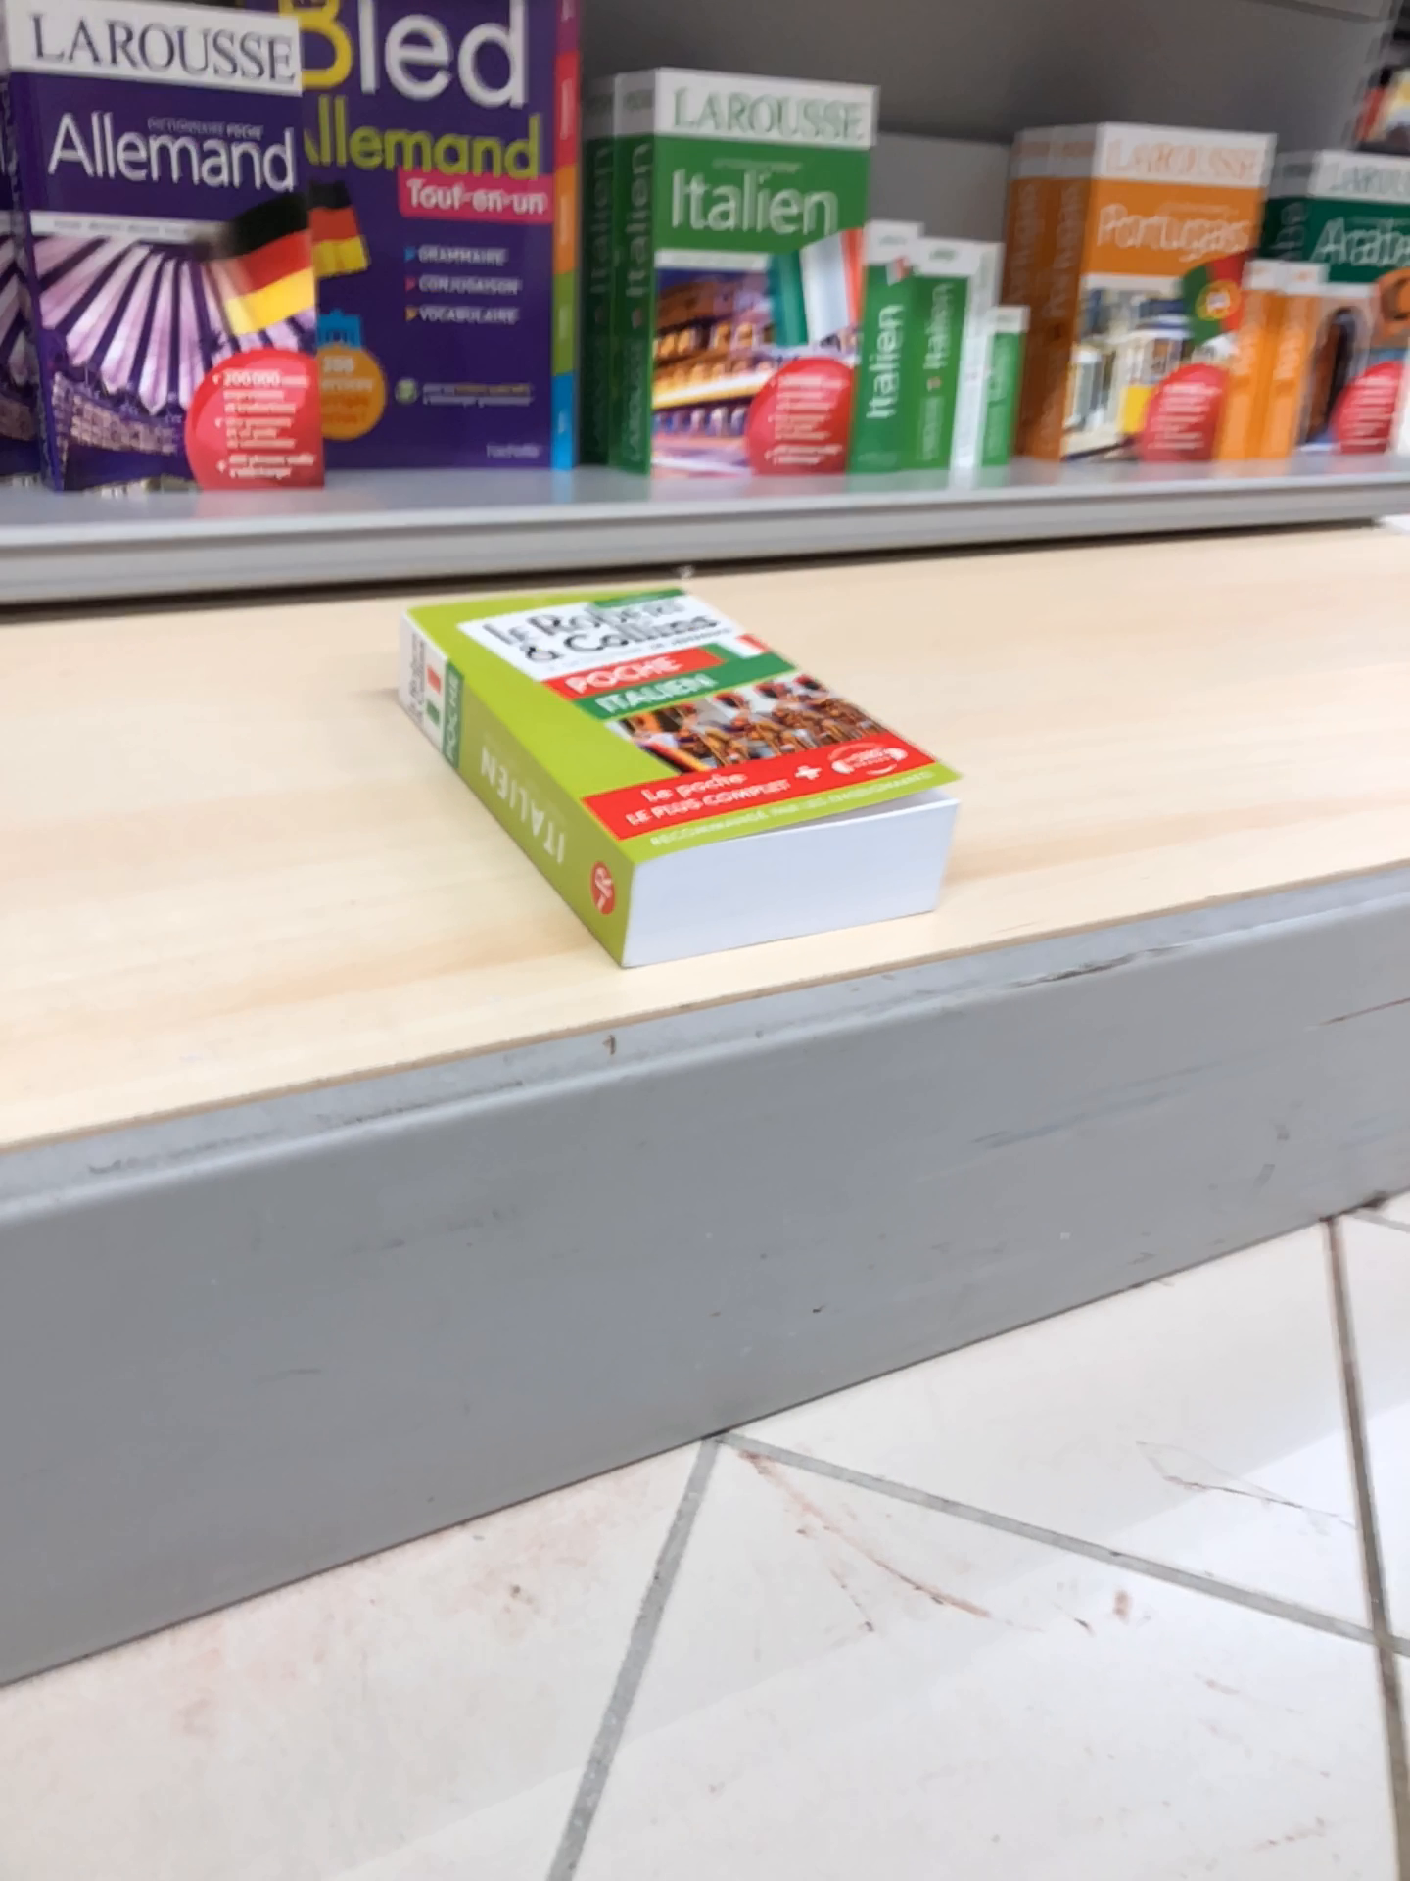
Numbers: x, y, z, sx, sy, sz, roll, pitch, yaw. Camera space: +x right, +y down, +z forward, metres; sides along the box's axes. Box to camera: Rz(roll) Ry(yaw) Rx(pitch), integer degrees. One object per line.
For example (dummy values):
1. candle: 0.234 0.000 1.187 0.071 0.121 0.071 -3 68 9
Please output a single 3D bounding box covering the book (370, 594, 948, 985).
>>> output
1. book: -0.023 -0.058 0.494 0.110 0.040 0.175 -10 36 -29
